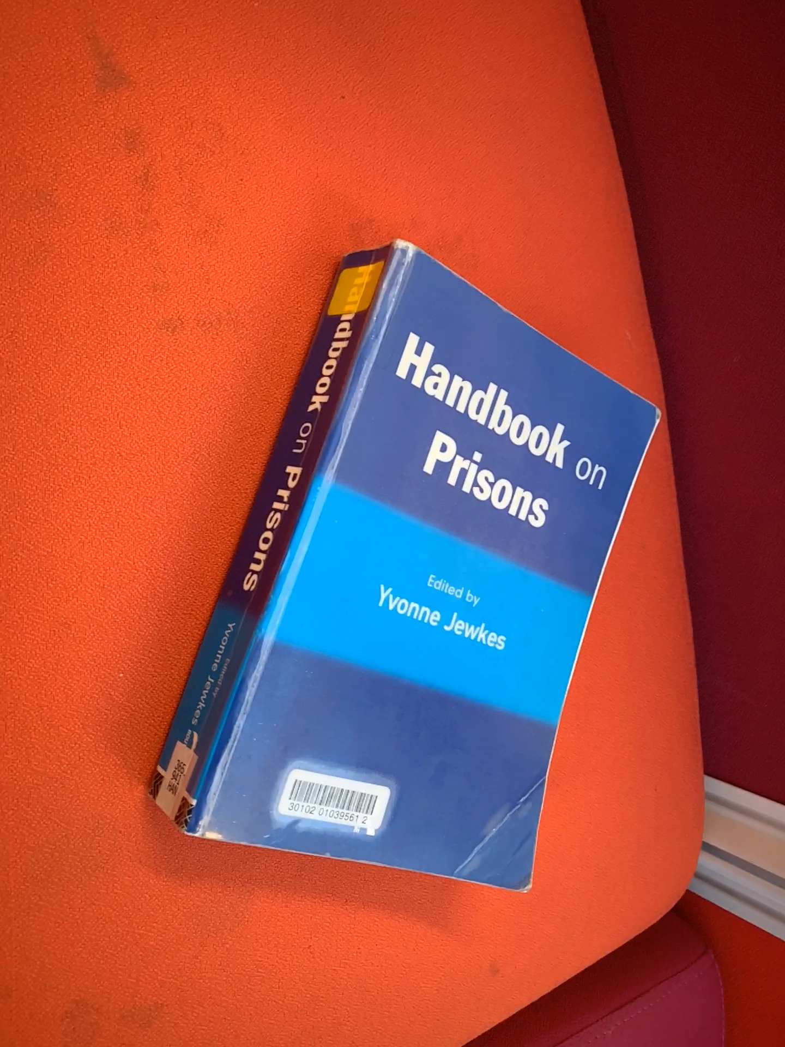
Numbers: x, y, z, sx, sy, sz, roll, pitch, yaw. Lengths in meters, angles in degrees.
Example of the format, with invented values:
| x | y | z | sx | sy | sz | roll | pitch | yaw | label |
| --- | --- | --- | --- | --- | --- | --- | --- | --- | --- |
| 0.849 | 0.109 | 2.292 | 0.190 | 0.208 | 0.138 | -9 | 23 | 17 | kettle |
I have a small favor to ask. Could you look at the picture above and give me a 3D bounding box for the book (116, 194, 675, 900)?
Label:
| x | y | z | sx | sy | sz | roll | pitch | yaw | label |
| --- | --- | --- | --- | --- | --- | --- | --- | --- | --- |
| 0.020 | 0.023 | 0.392 | 0.201 | 0.060 | 0.270 | 25 | 78 | -32 | book |
